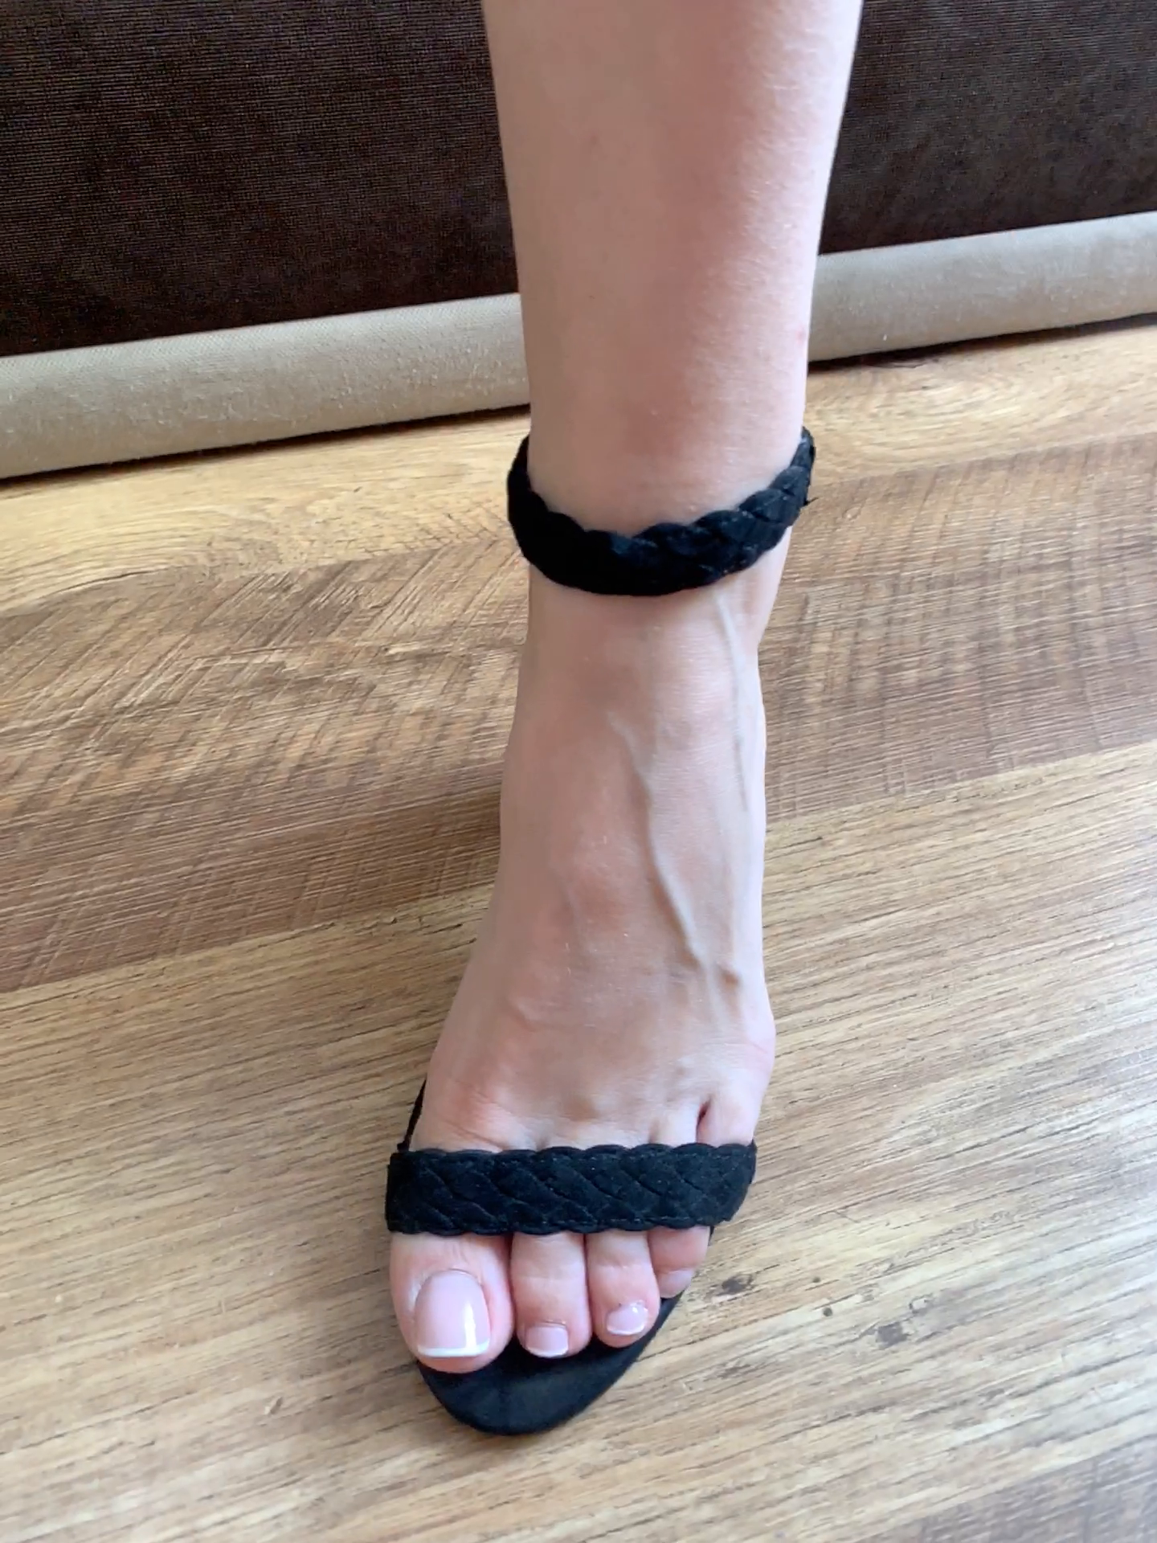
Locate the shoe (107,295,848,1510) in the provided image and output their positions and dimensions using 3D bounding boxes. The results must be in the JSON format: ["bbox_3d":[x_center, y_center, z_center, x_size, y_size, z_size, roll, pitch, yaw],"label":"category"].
[{"bbox_3d":[0.005,0.012,0.279,0.090,0.149,0.231,6,44,8],"label":"shoe"}]
